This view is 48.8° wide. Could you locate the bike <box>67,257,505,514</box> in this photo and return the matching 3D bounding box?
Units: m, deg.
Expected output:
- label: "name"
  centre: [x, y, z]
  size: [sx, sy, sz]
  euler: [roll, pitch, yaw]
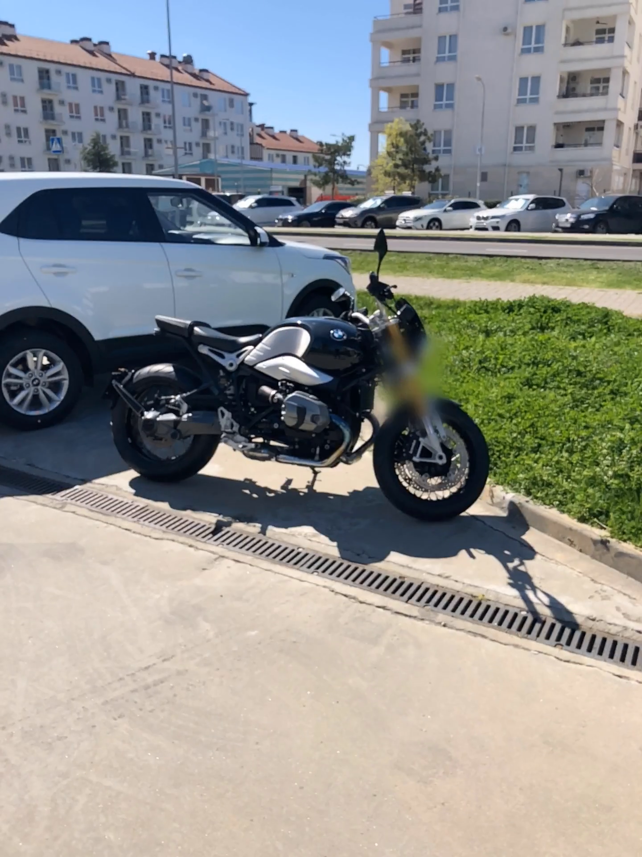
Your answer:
- label: "bike"
  centre: [-0.116, -0.279, 3.406]
  size: [1.833, 1.013, 0.779]
  euler: [3, 17, 13]
